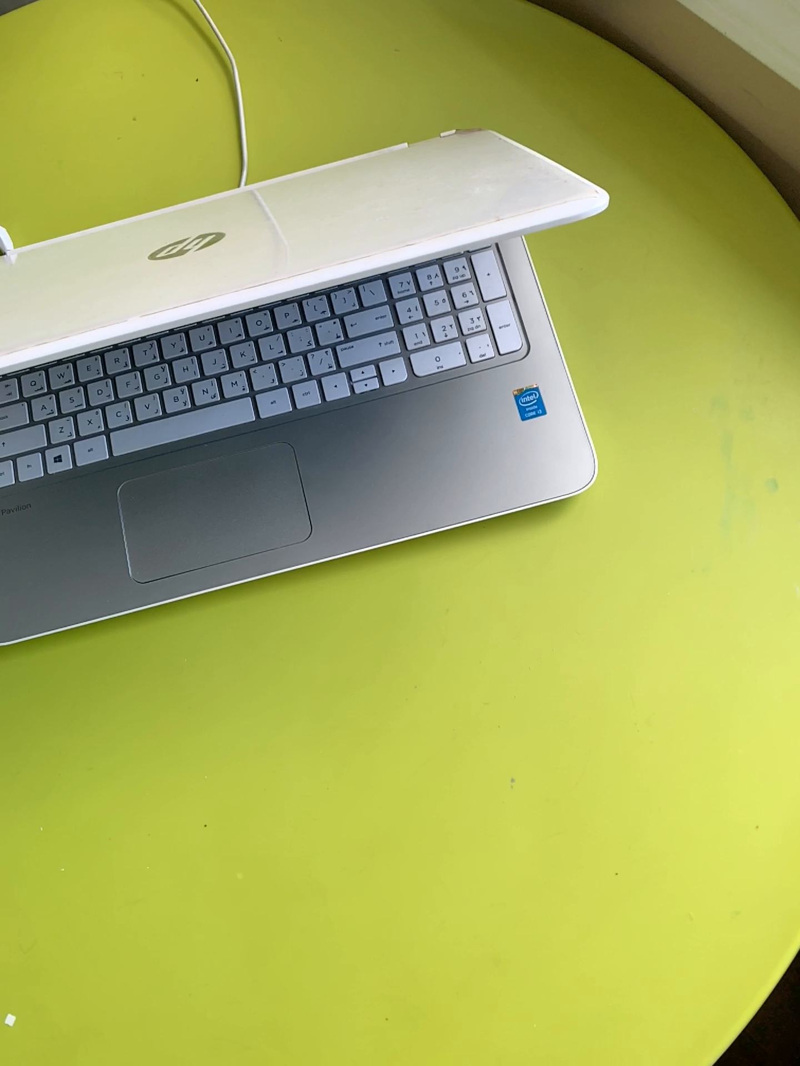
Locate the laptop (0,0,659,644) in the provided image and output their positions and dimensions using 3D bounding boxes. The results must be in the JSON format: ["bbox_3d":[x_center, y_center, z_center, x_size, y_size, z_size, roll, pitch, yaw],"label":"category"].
[{"bbox_3d":[-0.101,-0.118,0.425,0.367,0.163,0.243,-15,74,0],"label":"laptop"}]
